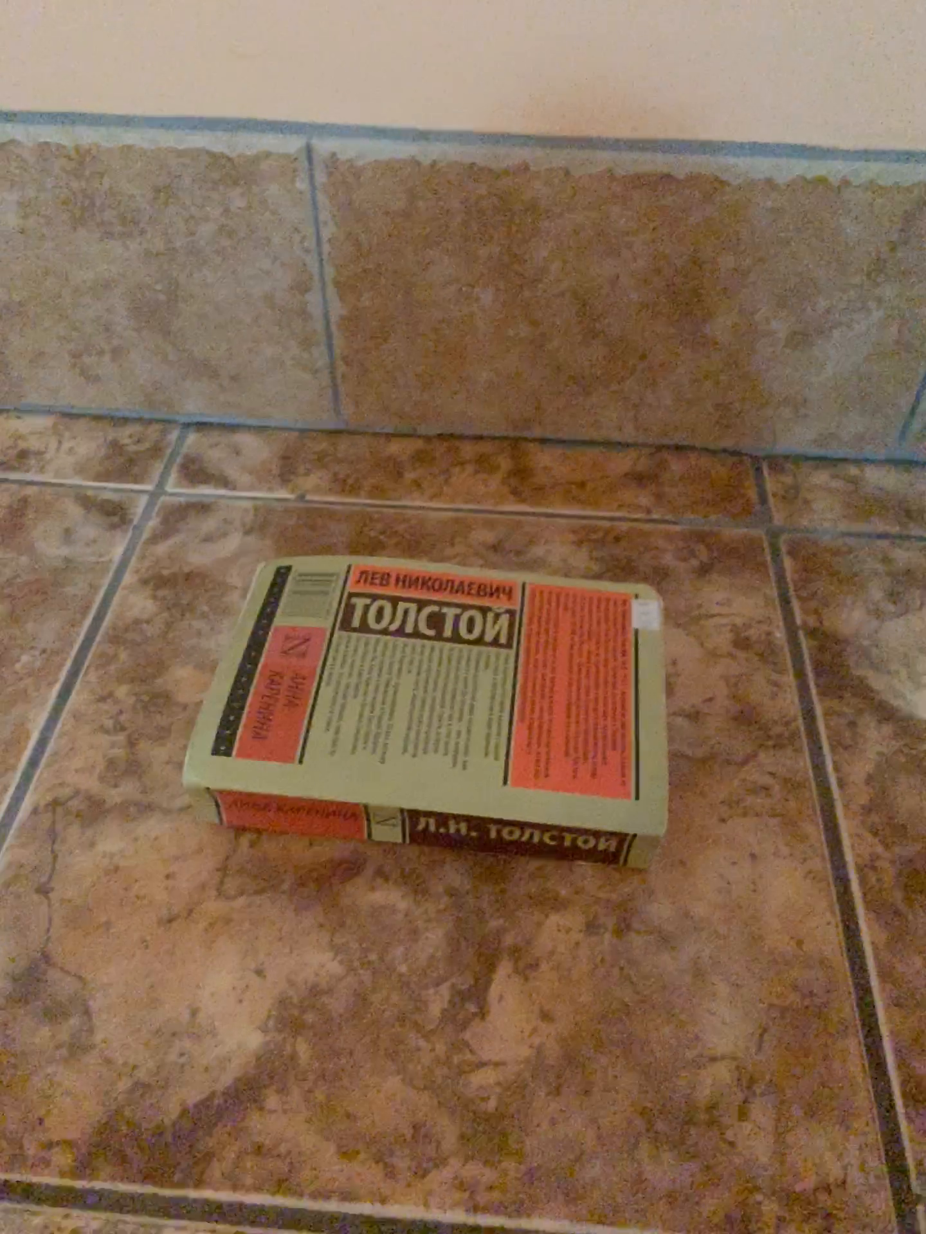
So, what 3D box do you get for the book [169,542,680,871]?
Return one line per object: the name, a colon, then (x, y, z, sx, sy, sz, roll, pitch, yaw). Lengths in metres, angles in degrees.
book: (-0.010, 0.032, 0.398, 0.185, 0.044, 0.120, 4, 48, 3)
